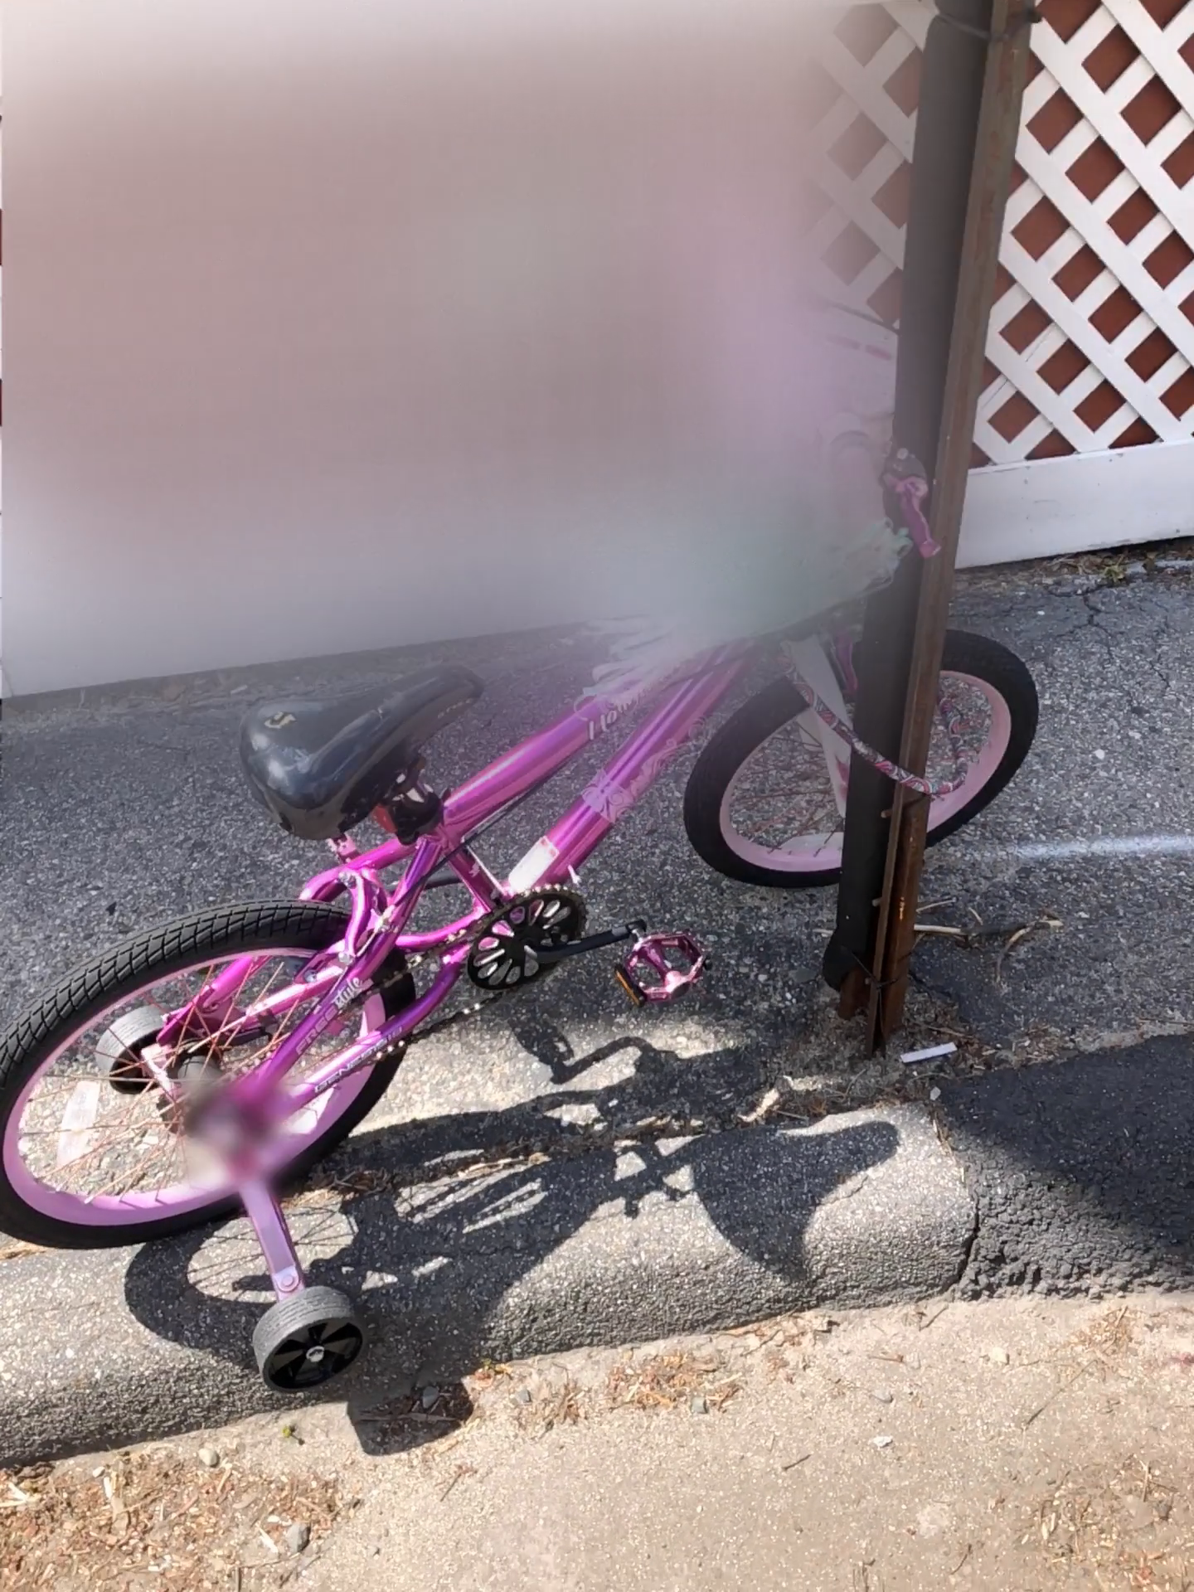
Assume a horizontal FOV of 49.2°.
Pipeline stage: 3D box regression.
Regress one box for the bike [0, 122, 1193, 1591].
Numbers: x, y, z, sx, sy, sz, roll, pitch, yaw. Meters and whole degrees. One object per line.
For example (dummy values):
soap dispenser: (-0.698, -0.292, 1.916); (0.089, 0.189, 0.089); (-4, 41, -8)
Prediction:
bike: (-0.031, -0.021, 1.244); (1.227, 0.869, 0.617); (-21, 42, -20)
